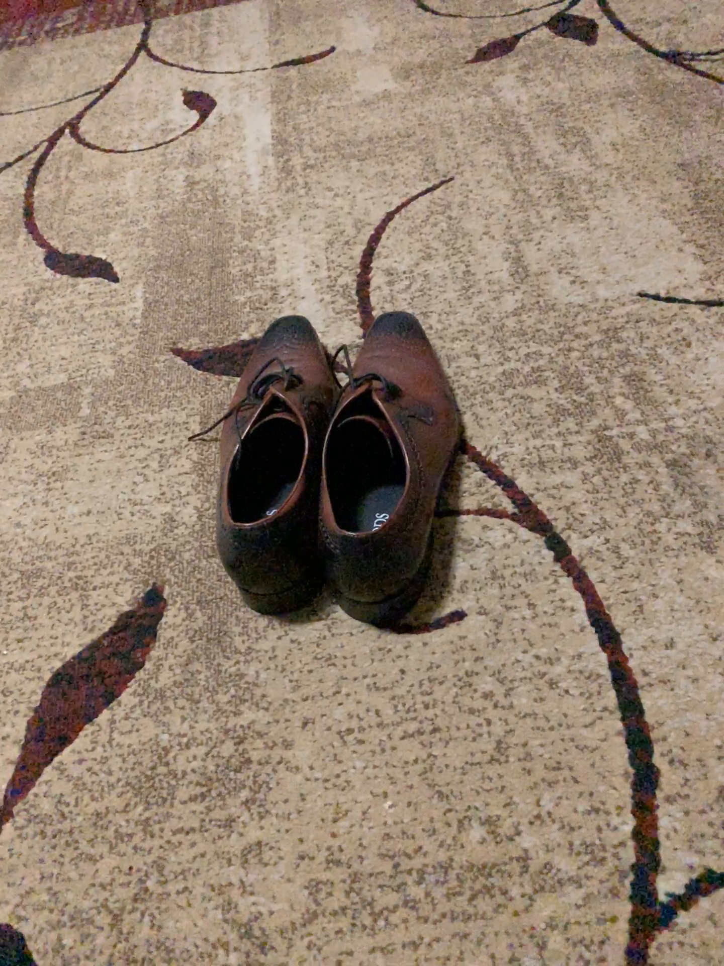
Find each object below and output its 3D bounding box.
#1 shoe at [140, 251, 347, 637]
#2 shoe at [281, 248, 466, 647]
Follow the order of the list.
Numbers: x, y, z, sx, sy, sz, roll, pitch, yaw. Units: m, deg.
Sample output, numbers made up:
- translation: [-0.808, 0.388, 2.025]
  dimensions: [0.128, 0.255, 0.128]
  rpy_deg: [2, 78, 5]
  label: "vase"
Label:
- translation: [-0.074, -0.041, 0.576]
  dimensions: [0.100, 0.115, 0.288]
  rpy_deg: [-5, 51, 7]
  label: "shoe"
- translation: [0.024, -0.037, 0.553]
  dimensions: [0.100, 0.115, 0.288]
  rpy_deg: [-1, 51, 10]
  label: "shoe"
